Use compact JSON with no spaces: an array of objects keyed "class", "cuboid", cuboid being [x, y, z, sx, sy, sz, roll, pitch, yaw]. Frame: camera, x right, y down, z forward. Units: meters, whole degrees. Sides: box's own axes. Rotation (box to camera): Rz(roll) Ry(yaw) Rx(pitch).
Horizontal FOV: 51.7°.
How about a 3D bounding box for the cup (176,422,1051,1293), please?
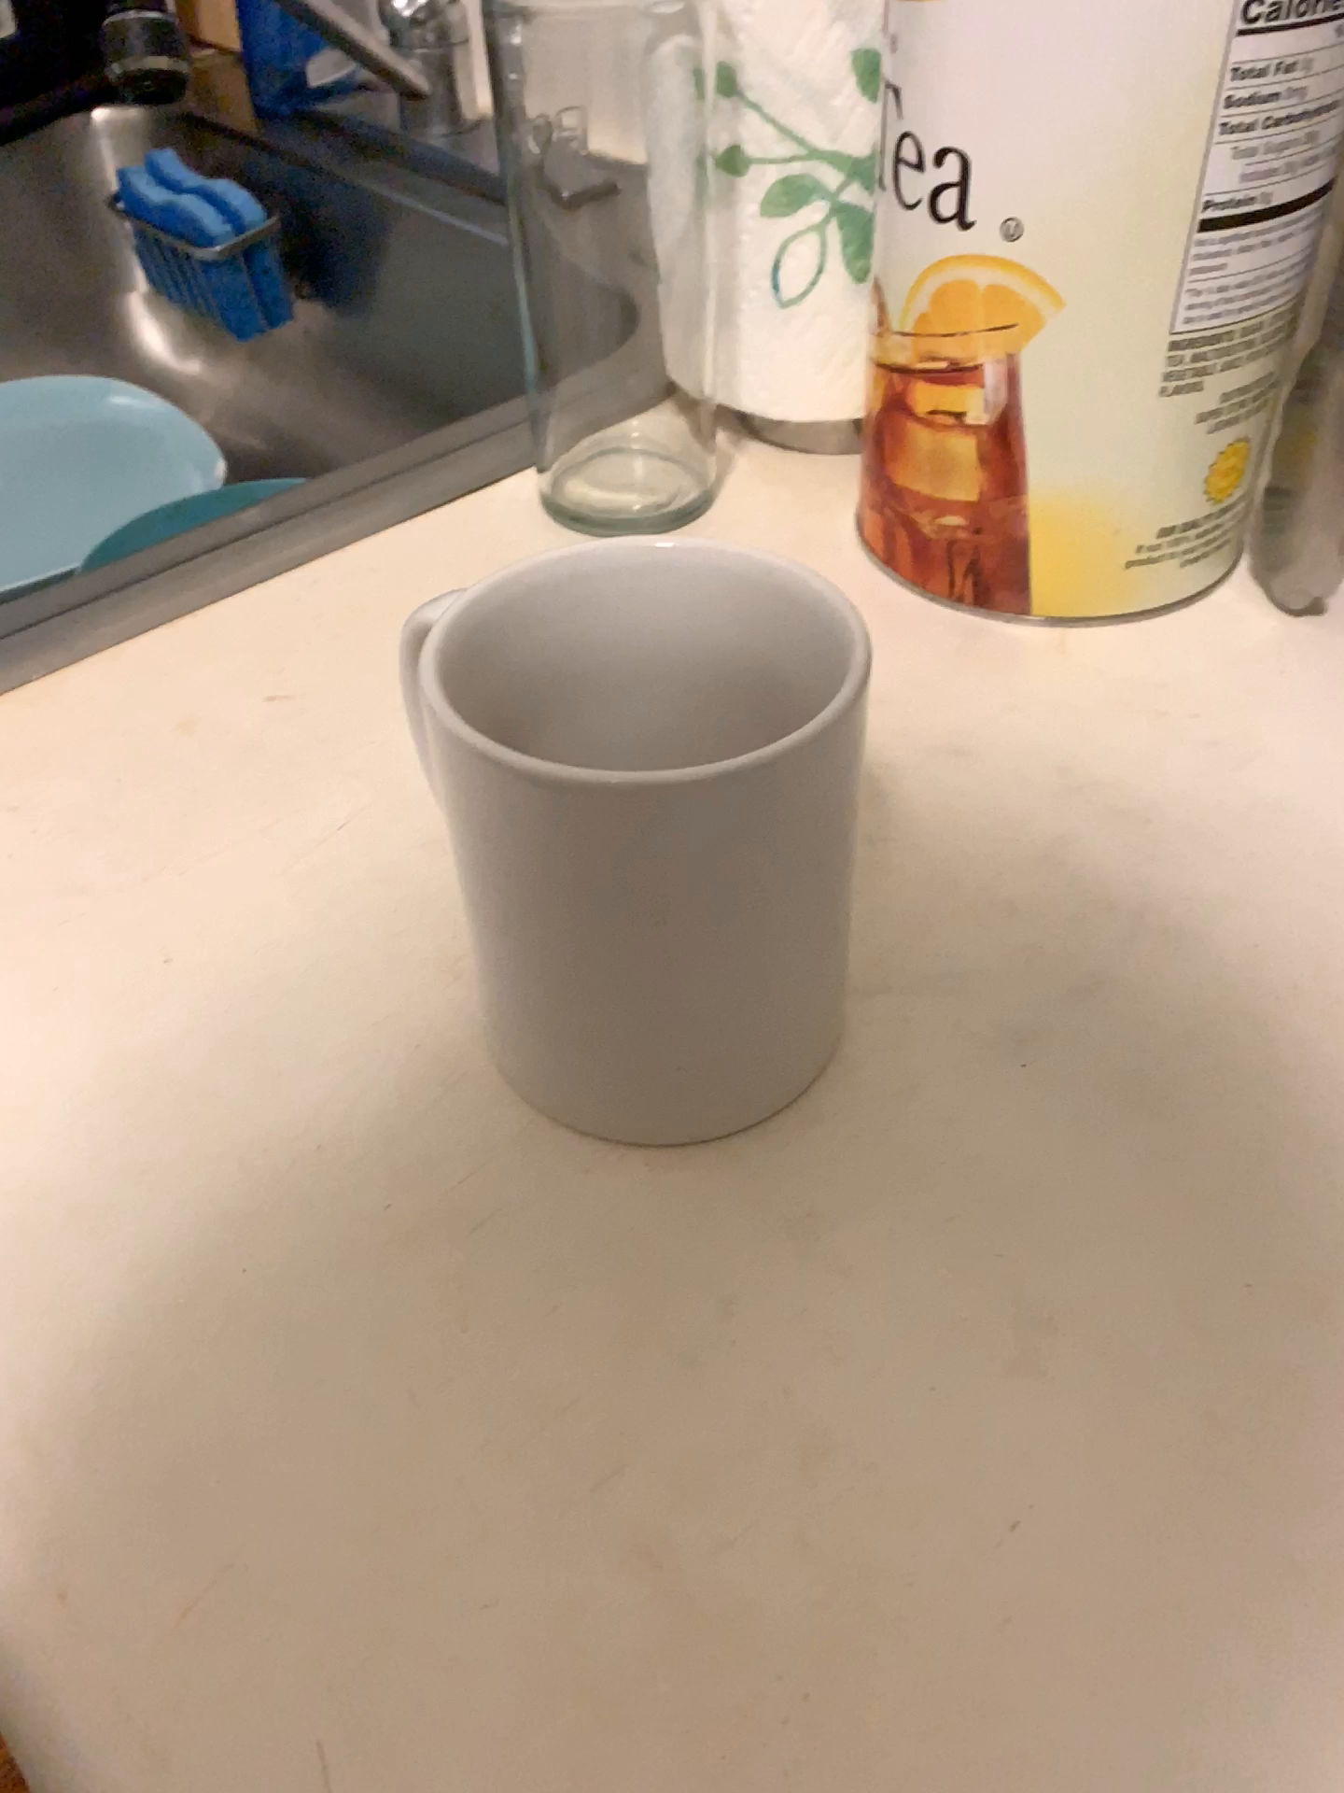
[{"class":"cup","cuboid":[-0.013,-0.015,0.298,0.141,0.109,0.090,29,51,29]}]
